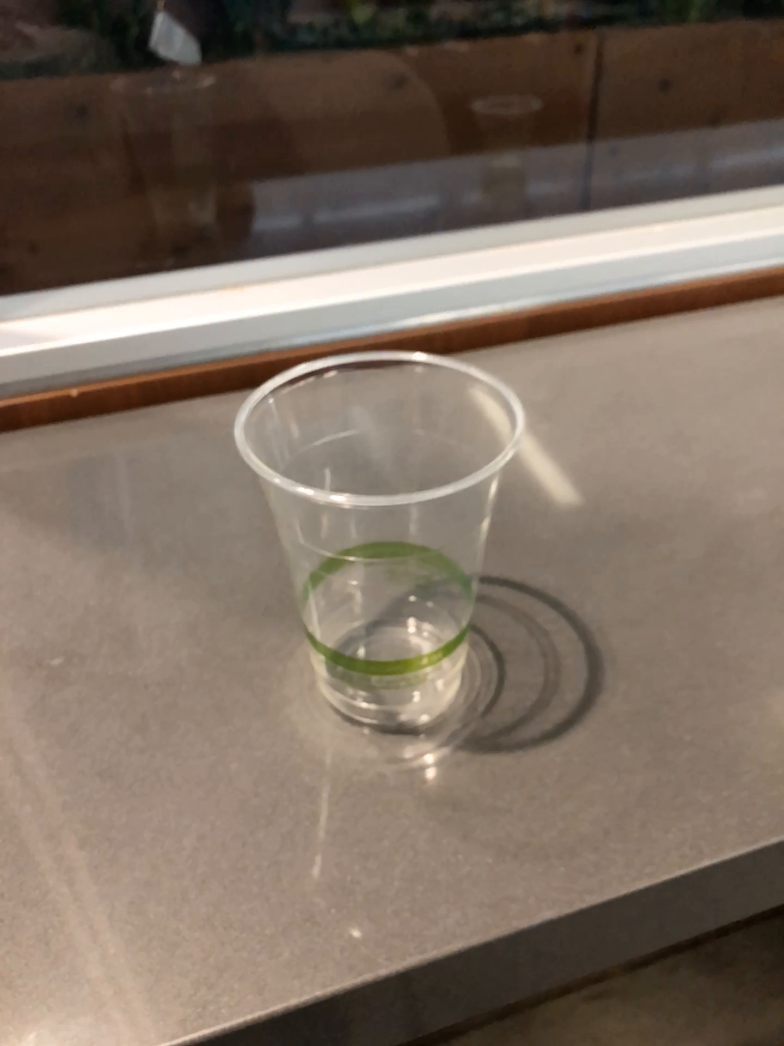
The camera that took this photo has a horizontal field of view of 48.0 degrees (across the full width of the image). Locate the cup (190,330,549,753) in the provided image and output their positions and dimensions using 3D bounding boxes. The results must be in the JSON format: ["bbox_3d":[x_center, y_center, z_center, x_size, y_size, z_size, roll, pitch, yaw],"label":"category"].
[{"bbox_3d":[0.000,0.003,0.329,0.100,0.109,0.100,-2,36,1],"label":"cup"}]
